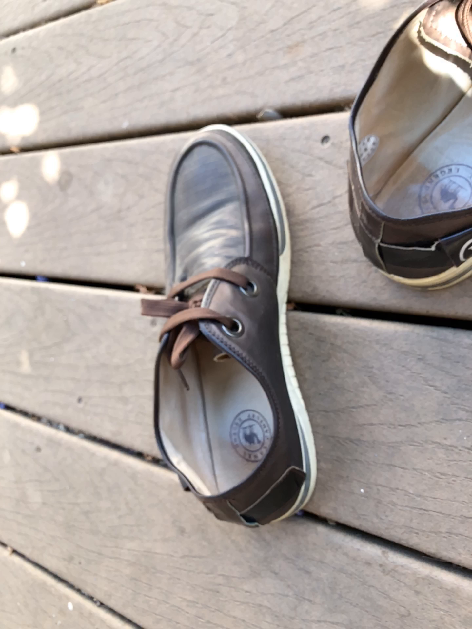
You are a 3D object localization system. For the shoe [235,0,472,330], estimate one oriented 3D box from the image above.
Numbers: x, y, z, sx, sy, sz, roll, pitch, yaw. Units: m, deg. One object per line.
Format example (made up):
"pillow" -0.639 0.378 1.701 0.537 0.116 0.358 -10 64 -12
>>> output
"shoe" 0.154 -0.144 0.261 0.304 0.116 0.110 -51 61 20

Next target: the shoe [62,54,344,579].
"shoe" -0.026 0.004 0.372 0.111 0.116 0.302 -16 76 32
